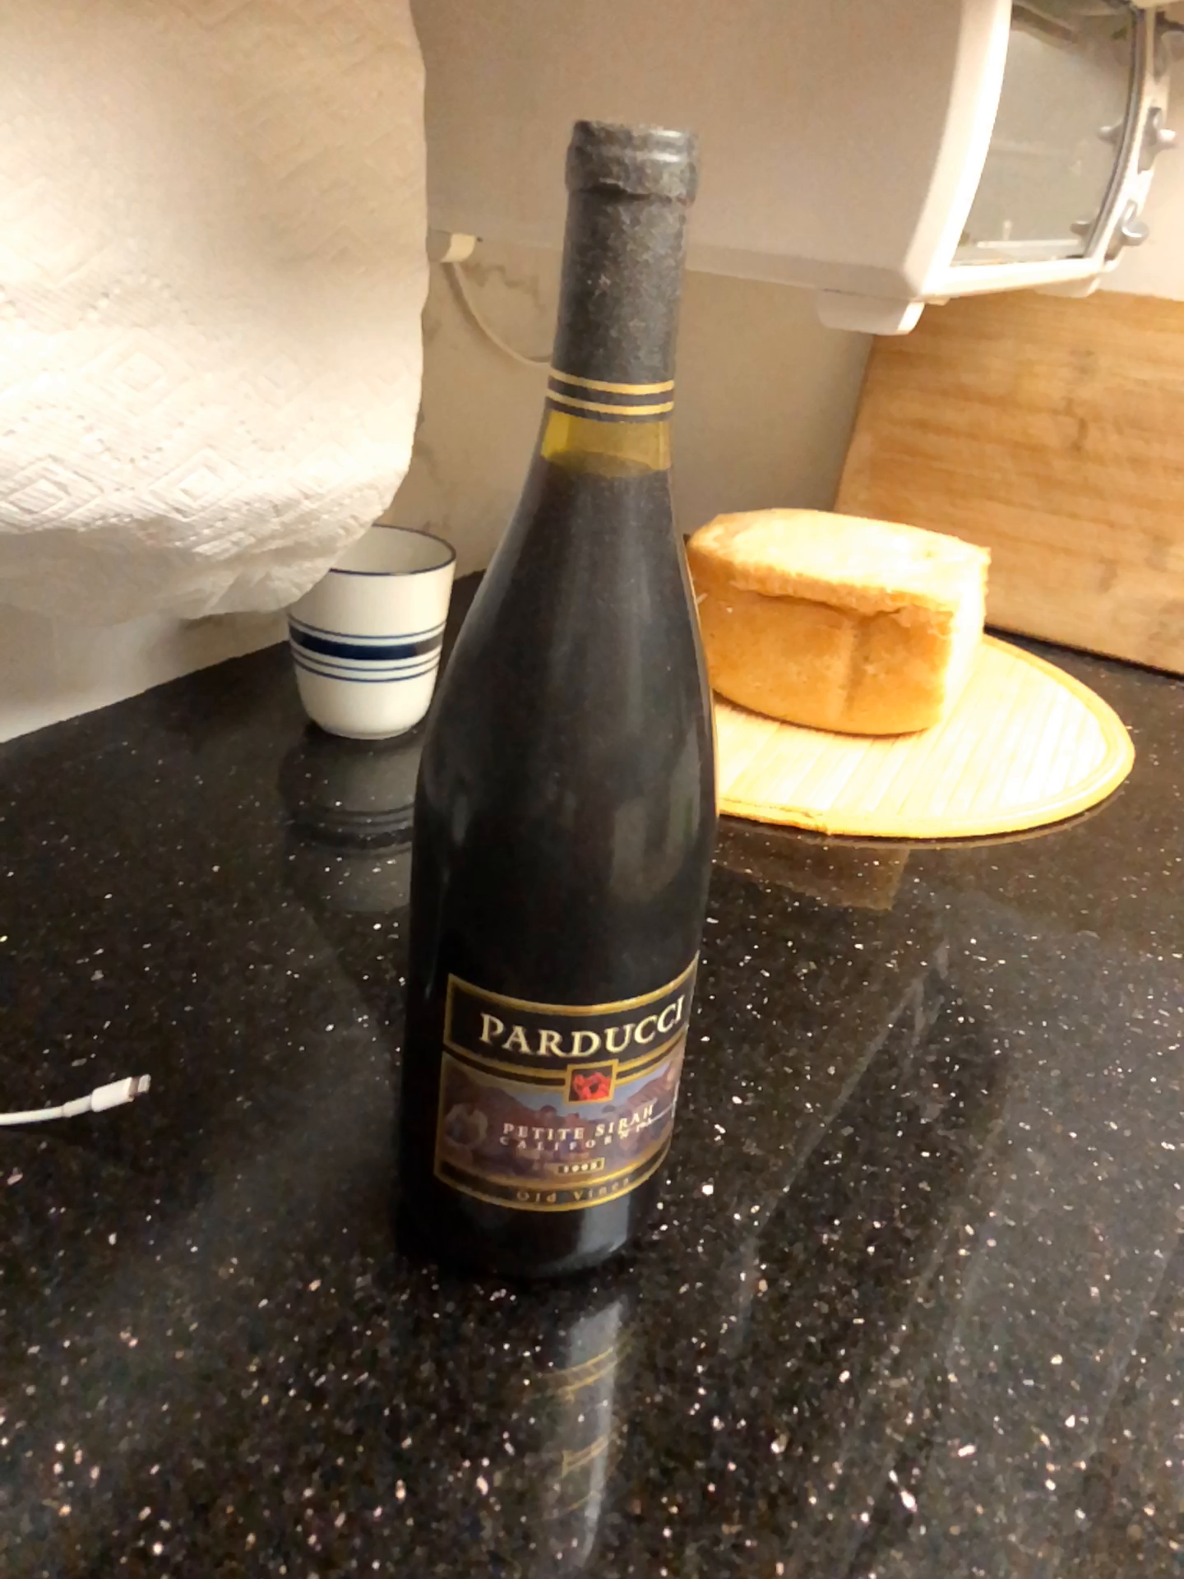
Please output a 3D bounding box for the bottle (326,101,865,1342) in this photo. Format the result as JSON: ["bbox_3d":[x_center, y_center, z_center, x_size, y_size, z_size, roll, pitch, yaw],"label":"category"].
[{"bbox_3d":[-0.017,-0.007,0.342,0.090,0.298,0.090,5,25,-2],"label":"bottle"}]
